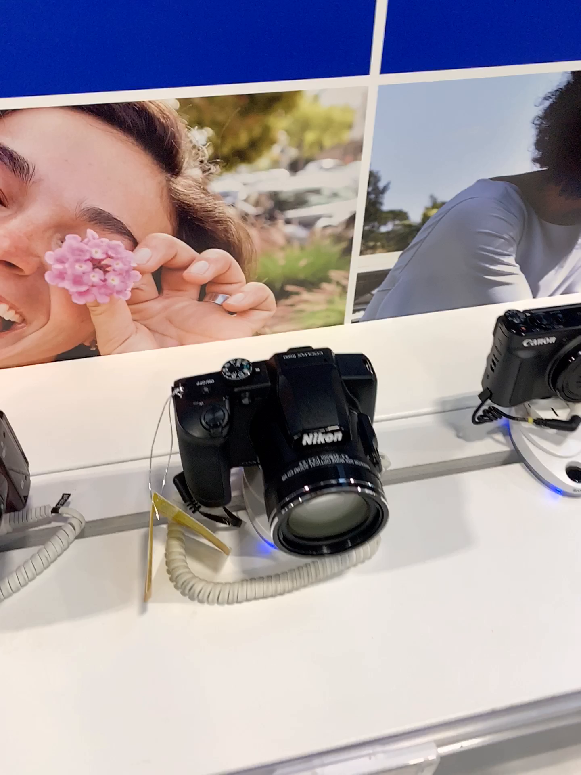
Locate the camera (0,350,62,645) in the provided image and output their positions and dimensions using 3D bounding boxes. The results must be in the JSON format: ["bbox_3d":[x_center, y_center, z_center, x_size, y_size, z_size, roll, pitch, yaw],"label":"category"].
[{"bbox_3d":[-0.205,0.054,0.319,0.130,0.080,0.111,-8,44,-7],"label":"camera"}]

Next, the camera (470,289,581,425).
[{"bbox_3d":[0.196,-0.021,0.411,0.120,0.060,0.050,-8,44,-7],"label":"camera"}]

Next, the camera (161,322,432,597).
[{"bbox_3d":[-0.004,0.036,0.333,0.120,0.080,0.111,-8,44,-7],"label":"camera"}]
